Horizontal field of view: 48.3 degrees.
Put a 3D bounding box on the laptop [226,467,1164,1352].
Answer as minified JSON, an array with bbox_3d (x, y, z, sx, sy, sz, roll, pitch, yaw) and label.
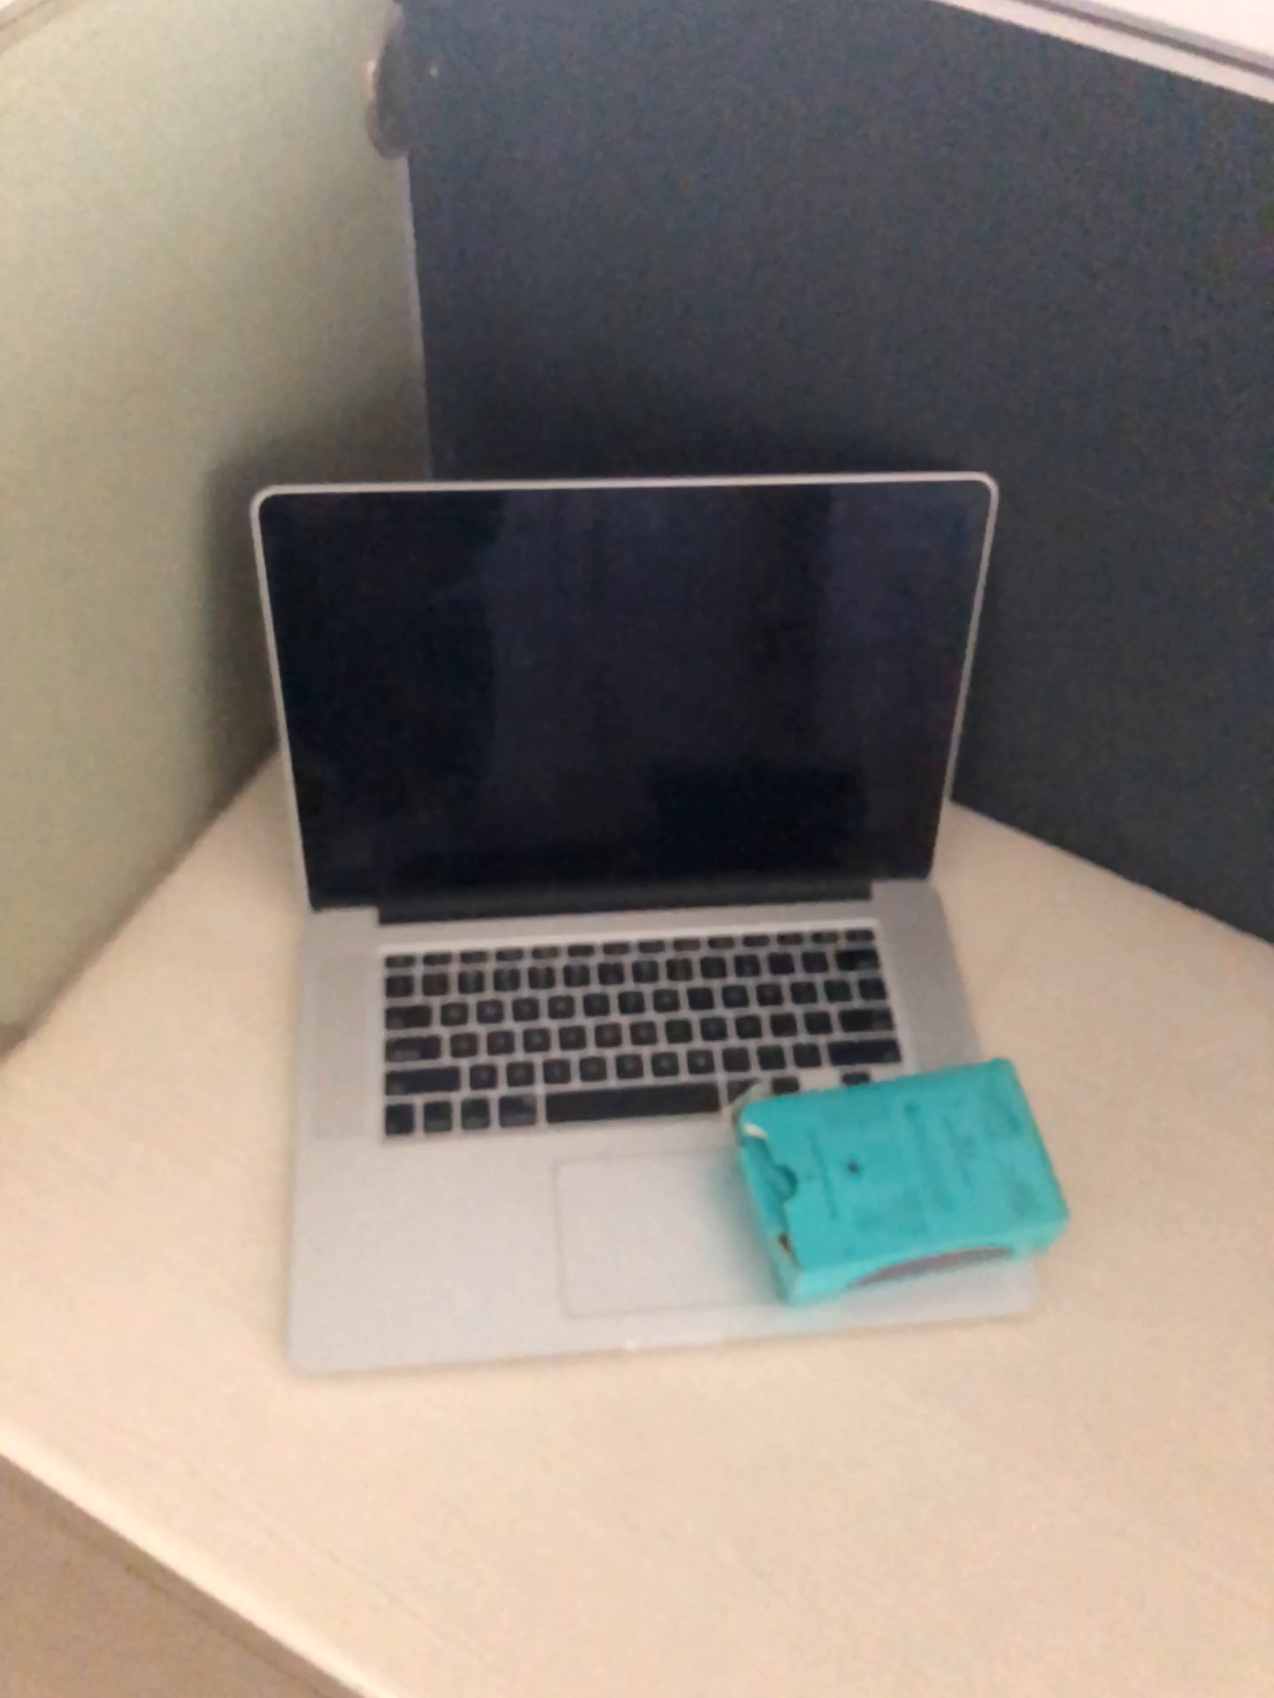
[{"bbox_3d":[0.004,0.022,0.666,0.328,0.200,0.340,-2,57,-5],"label":"laptop"}]
